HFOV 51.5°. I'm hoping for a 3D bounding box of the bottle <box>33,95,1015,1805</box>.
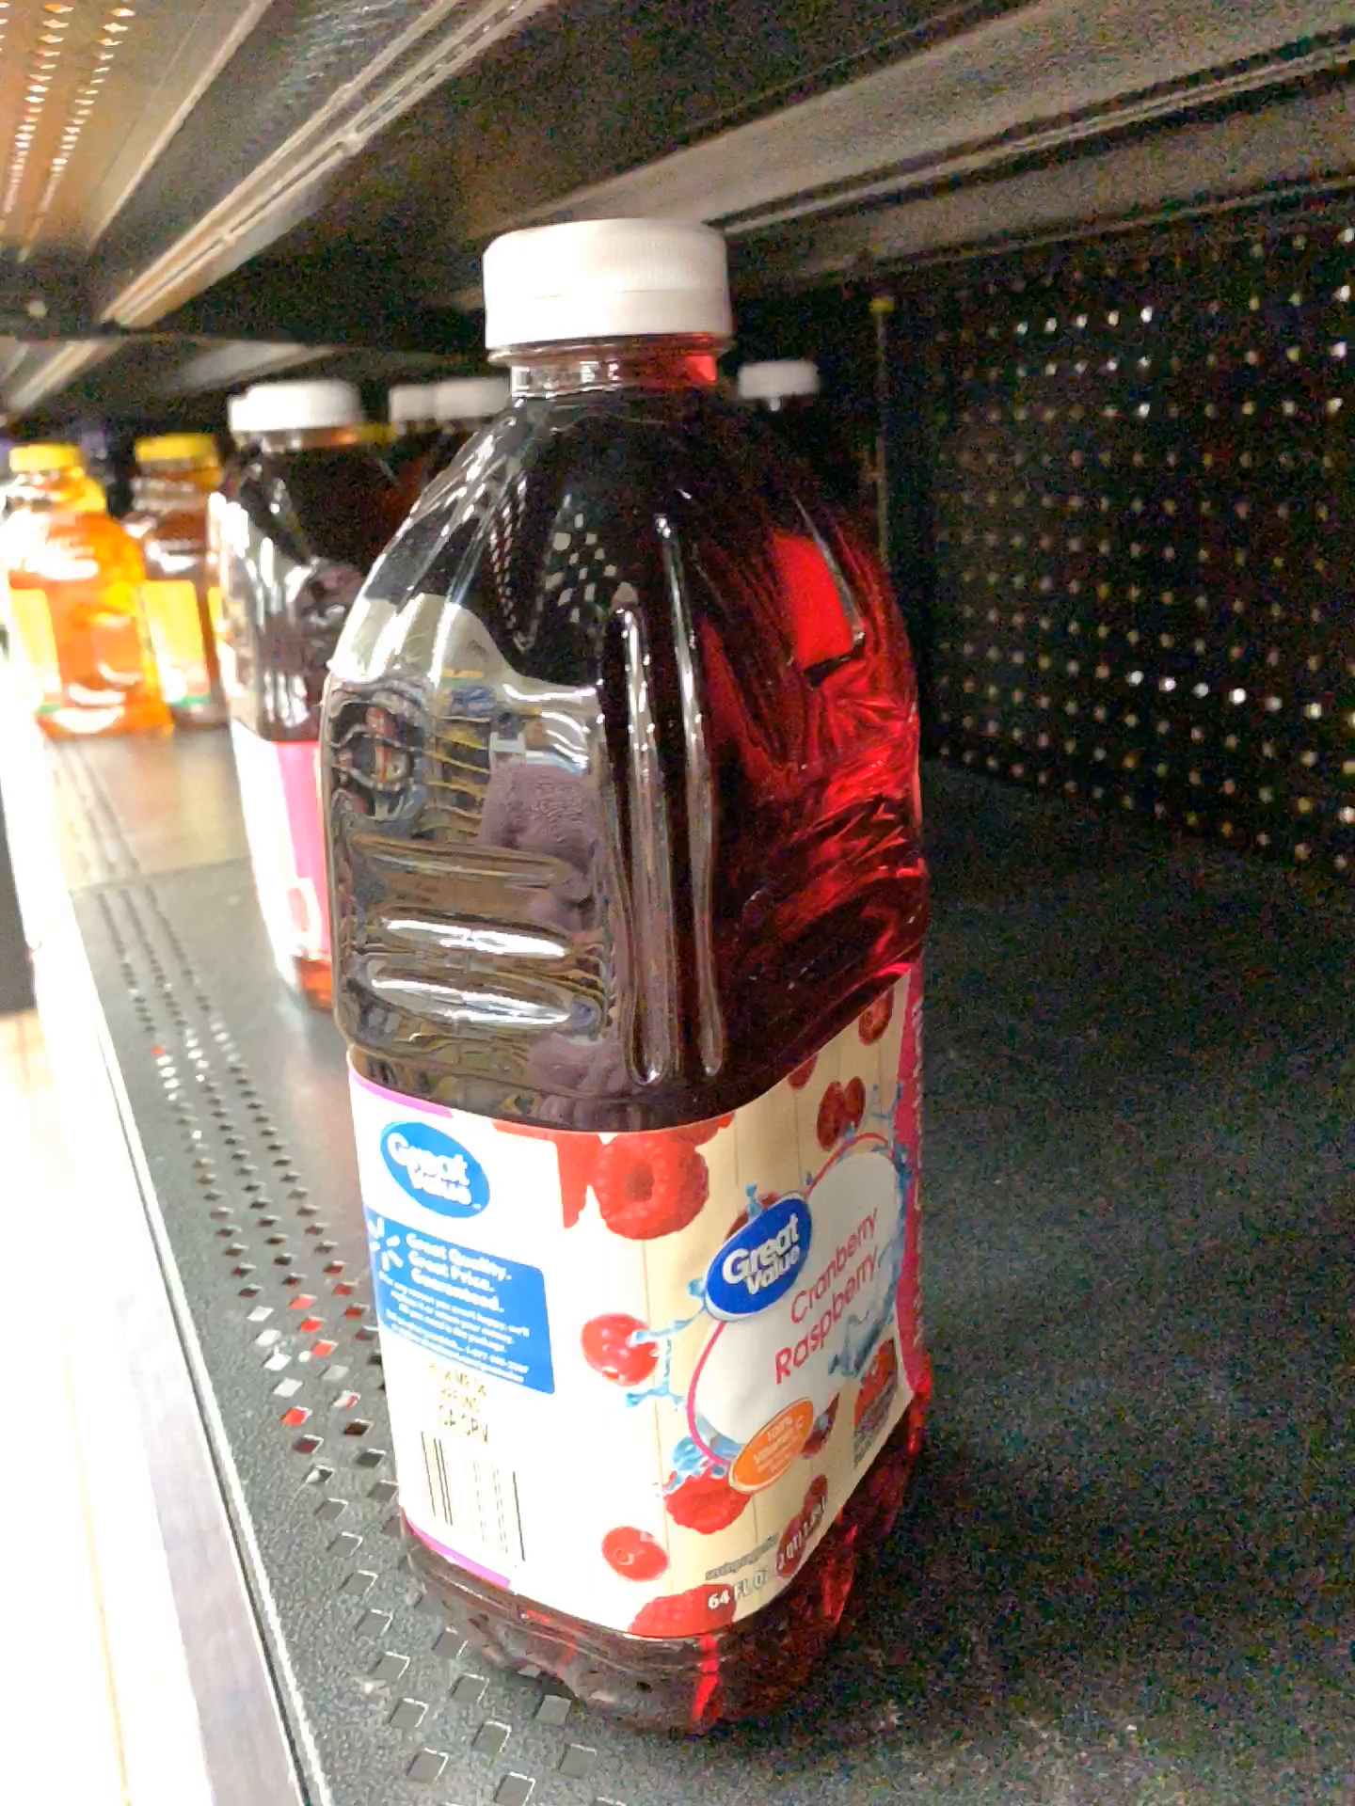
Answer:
[{"bbox_3d":[-0.004,0.013,0.261,0.100,0.259,0.125,6,22,28],"label":"bottle"}]
